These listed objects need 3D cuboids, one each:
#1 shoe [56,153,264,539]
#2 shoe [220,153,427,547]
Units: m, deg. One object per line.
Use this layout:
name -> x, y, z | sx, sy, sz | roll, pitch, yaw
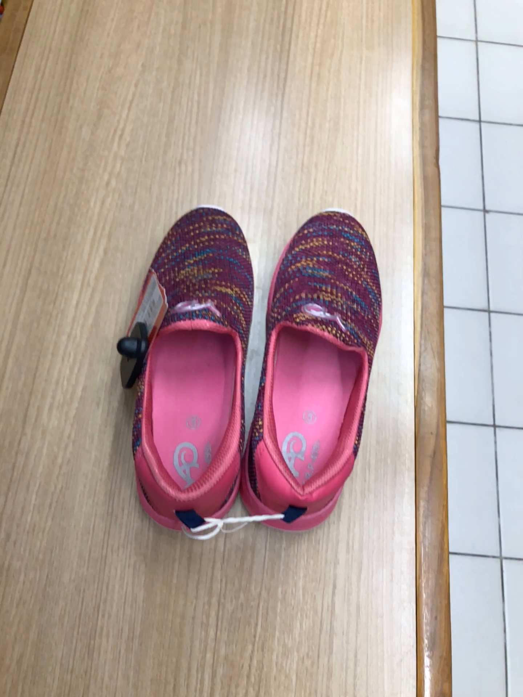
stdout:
shoe -> -0.057, 0.002, 0.404 | 0.105, 0.103, 0.244 | 3, 71, -3
shoe -> 0.043, 0.004, 0.410 | 0.105, 0.103, 0.244 | 9, 71, -1
